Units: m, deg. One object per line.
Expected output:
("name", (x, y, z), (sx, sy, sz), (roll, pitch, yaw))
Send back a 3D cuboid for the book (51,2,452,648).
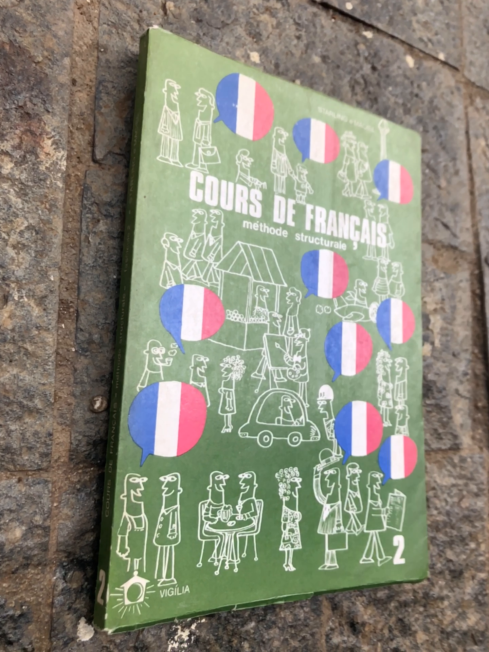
("book", (0.019, 0.000, 0.223), (0.167, 0.013, 0.211), (7, 80, -29))
